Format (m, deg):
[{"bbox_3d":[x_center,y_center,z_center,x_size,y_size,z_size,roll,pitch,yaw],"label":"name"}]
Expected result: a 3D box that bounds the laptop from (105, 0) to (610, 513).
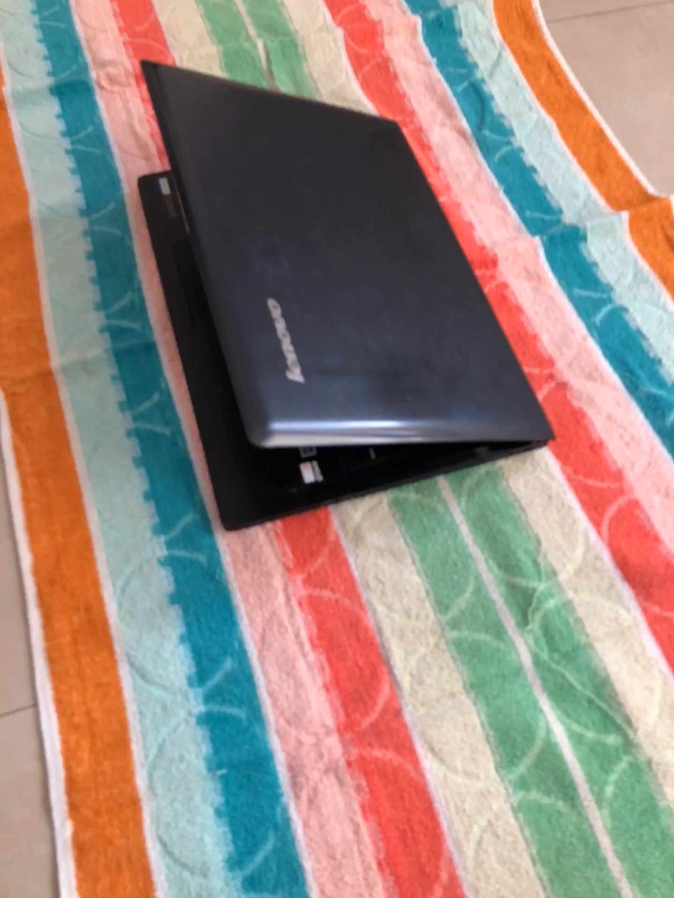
[{"bbox_3d":[-0.005,-0.169,0.566,0.253,0.125,0.364,-14,63,-12],"label":"laptop"}]
